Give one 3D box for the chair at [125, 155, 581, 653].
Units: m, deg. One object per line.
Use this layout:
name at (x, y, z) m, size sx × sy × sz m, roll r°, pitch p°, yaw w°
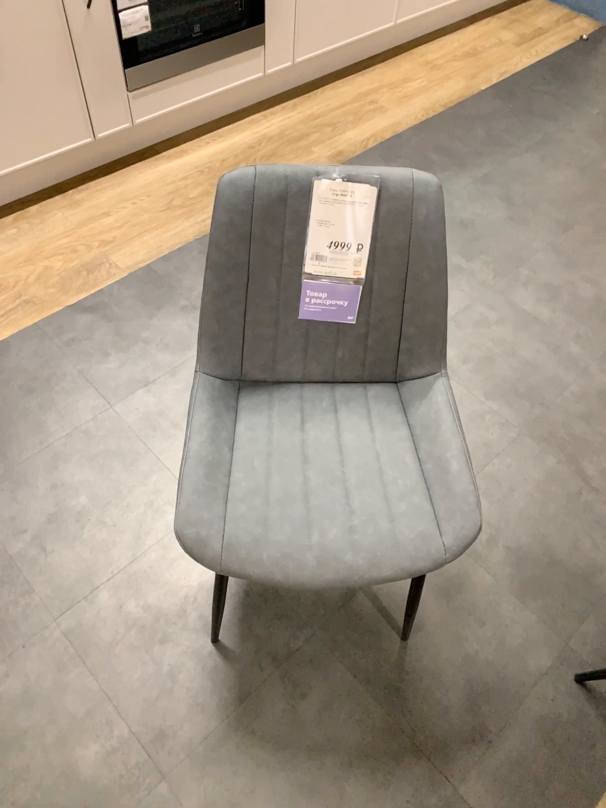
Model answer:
chair at (0.033, 0.071, 1.215) m, size 0.522 × 0.835 × 0.591 m, roll 1°, pitch 54°, yaw -3°
